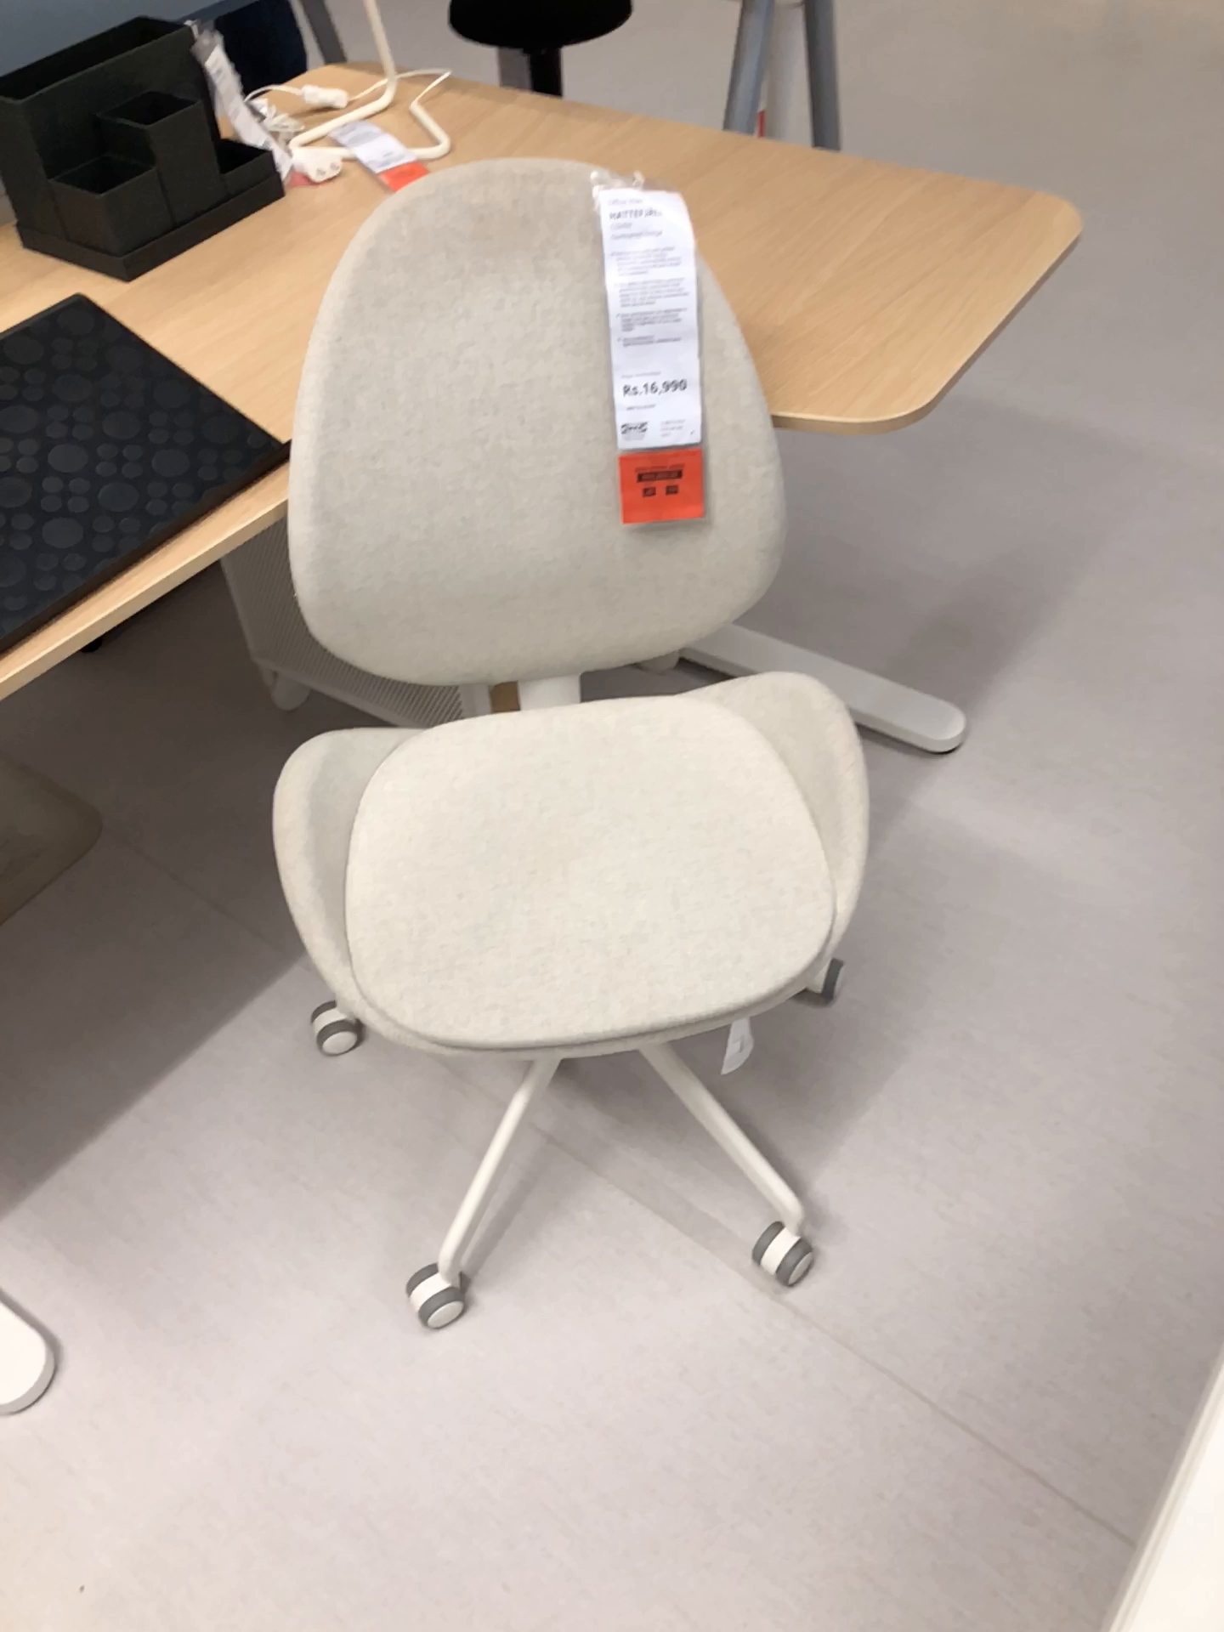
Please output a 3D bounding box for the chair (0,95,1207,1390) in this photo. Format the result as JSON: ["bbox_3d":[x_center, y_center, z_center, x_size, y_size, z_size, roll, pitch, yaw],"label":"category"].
[{"bbox_3d":[-0.029,-0.006,1.282,0.660,0.994,0.624,-9,48,-5],"label":"chair"}]
